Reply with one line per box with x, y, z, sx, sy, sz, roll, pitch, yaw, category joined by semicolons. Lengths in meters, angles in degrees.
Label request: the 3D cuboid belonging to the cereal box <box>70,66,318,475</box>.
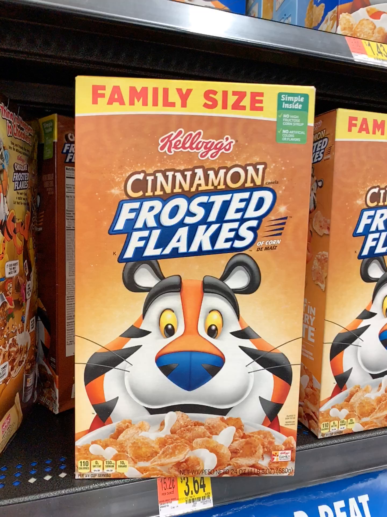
-0.003;0.014;0.376;0.200;0.340;0.080;1;4;-2;cereal box
